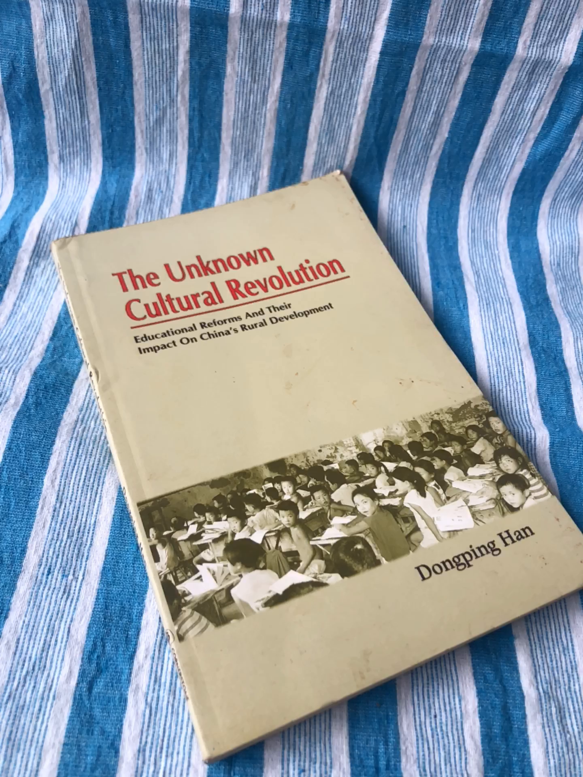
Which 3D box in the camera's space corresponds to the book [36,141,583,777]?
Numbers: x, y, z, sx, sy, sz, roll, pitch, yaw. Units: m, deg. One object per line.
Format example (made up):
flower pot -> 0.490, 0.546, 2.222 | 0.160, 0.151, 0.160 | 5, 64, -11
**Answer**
book -> -0.003, -0.005, 0.241 | 0.140, 0.020, 0.230 | -19, 55, -11
